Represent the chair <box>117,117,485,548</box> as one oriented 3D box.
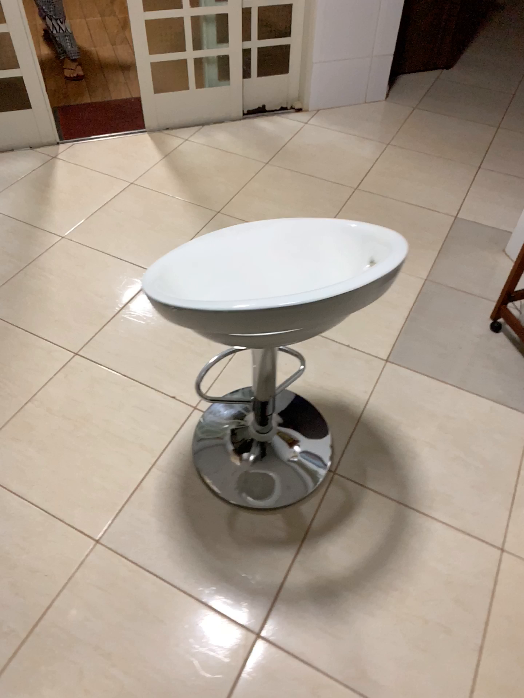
[{"bbox_3d":[0.022,-0.005,1.138,0.471,0.734,0.453,-12,49,-12],"label":"chair"}]
